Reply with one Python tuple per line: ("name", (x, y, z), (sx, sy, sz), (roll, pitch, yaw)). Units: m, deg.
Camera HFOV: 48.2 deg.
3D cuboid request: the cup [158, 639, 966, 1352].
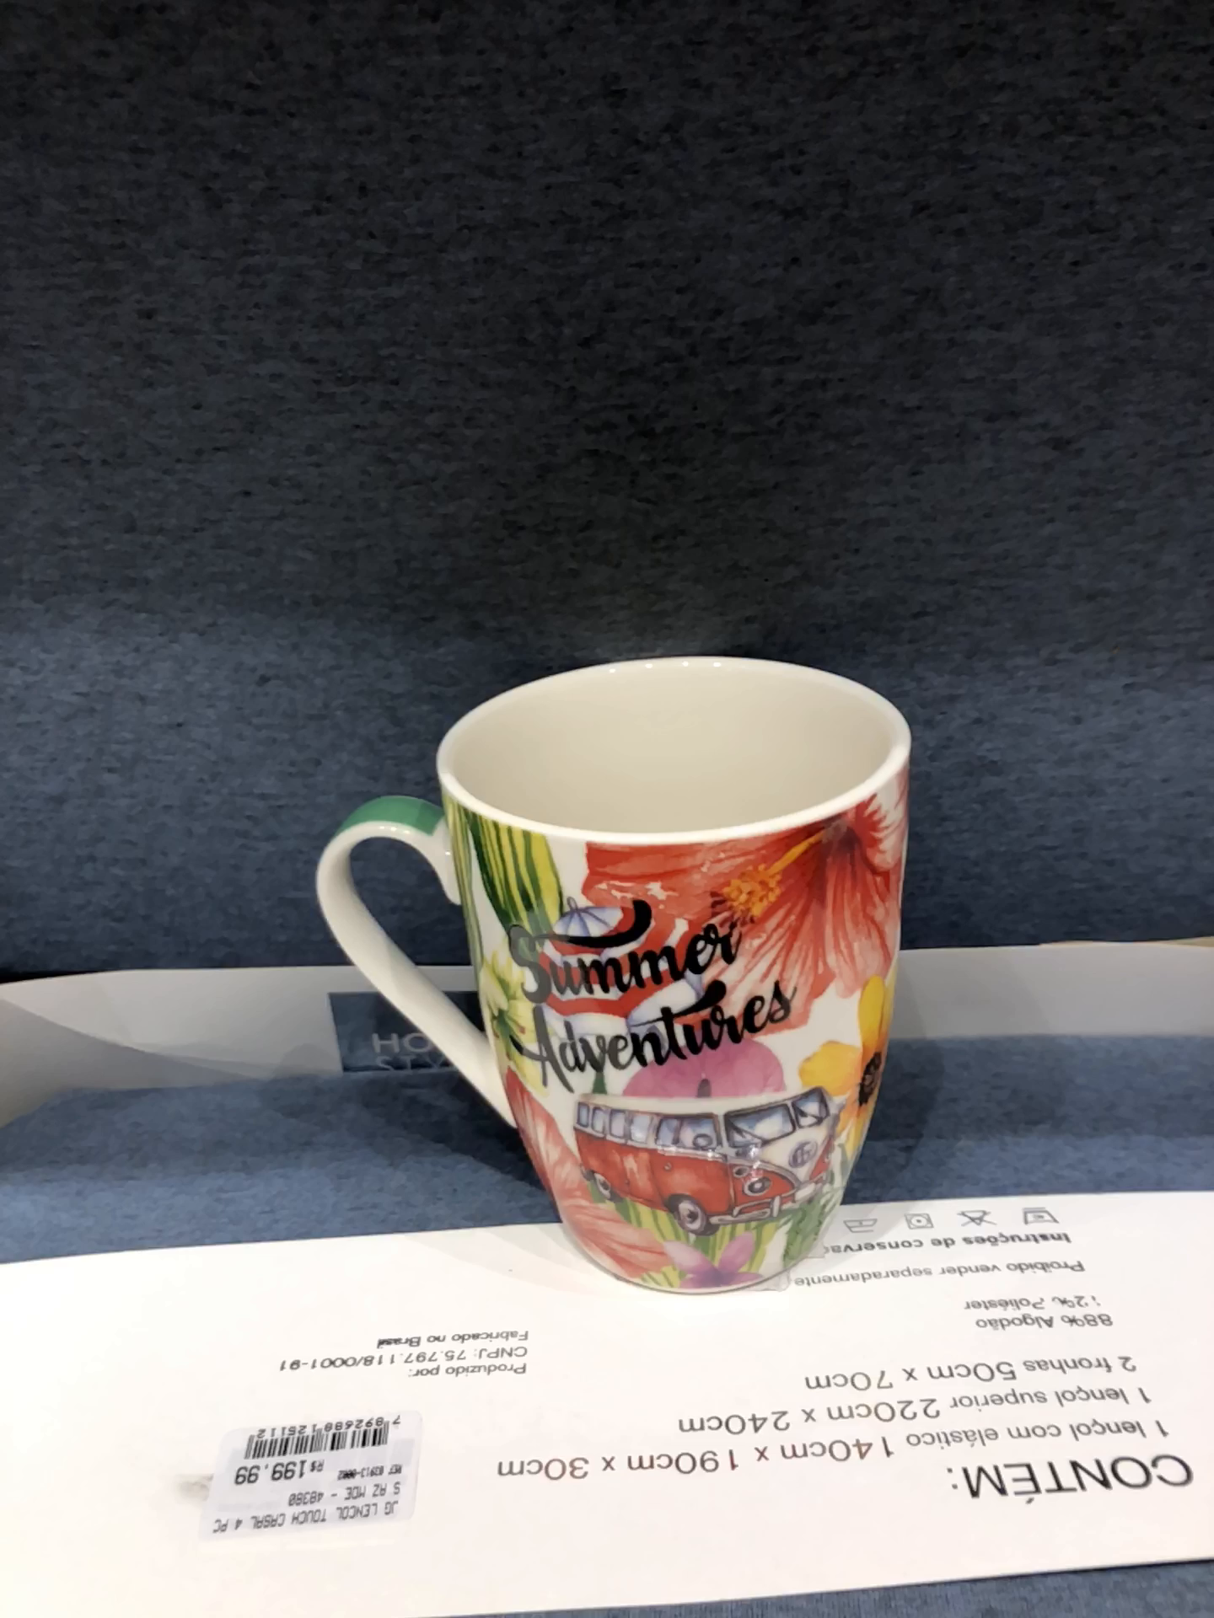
("cup", (-0.004, 0.027, 0.242), (0.110, 0.090, 0.090), (-2, 21, 2))
